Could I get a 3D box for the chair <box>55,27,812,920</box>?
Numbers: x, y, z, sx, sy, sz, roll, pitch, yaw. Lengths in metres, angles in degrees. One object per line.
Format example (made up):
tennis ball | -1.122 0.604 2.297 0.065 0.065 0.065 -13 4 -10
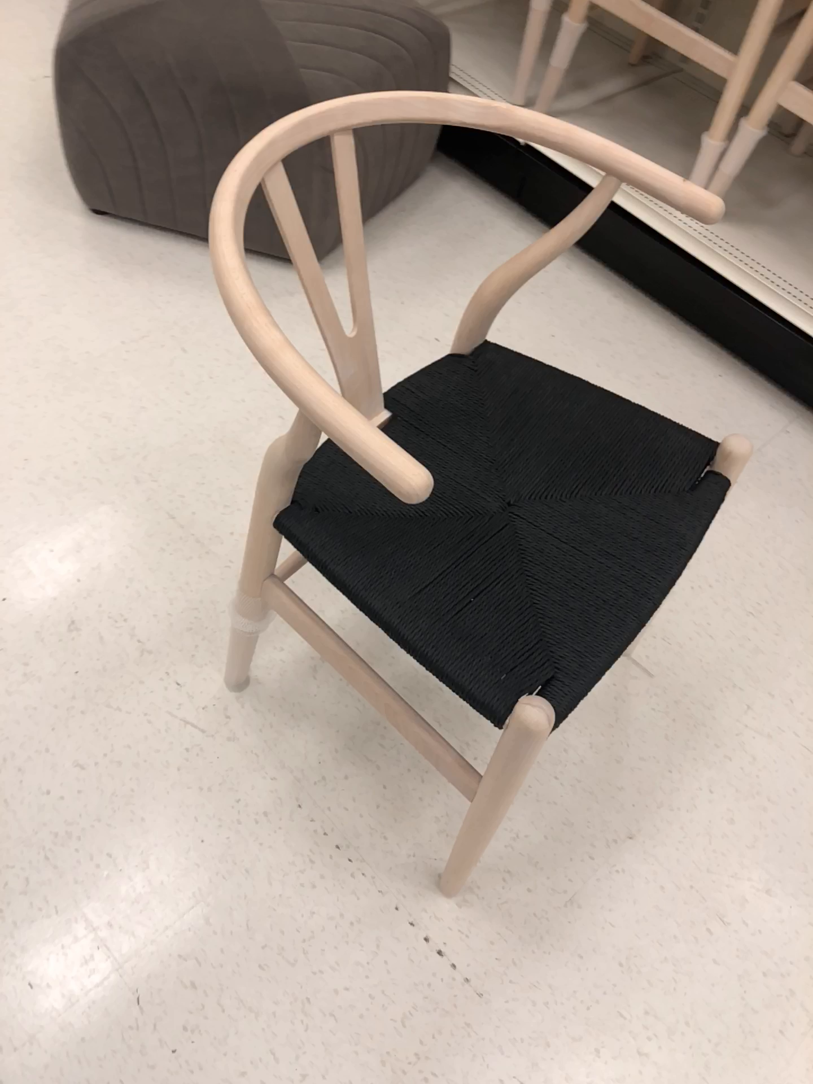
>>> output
chair | 0.055 -0.055 1.079 0.556 0.728 0.560 35 55 17
